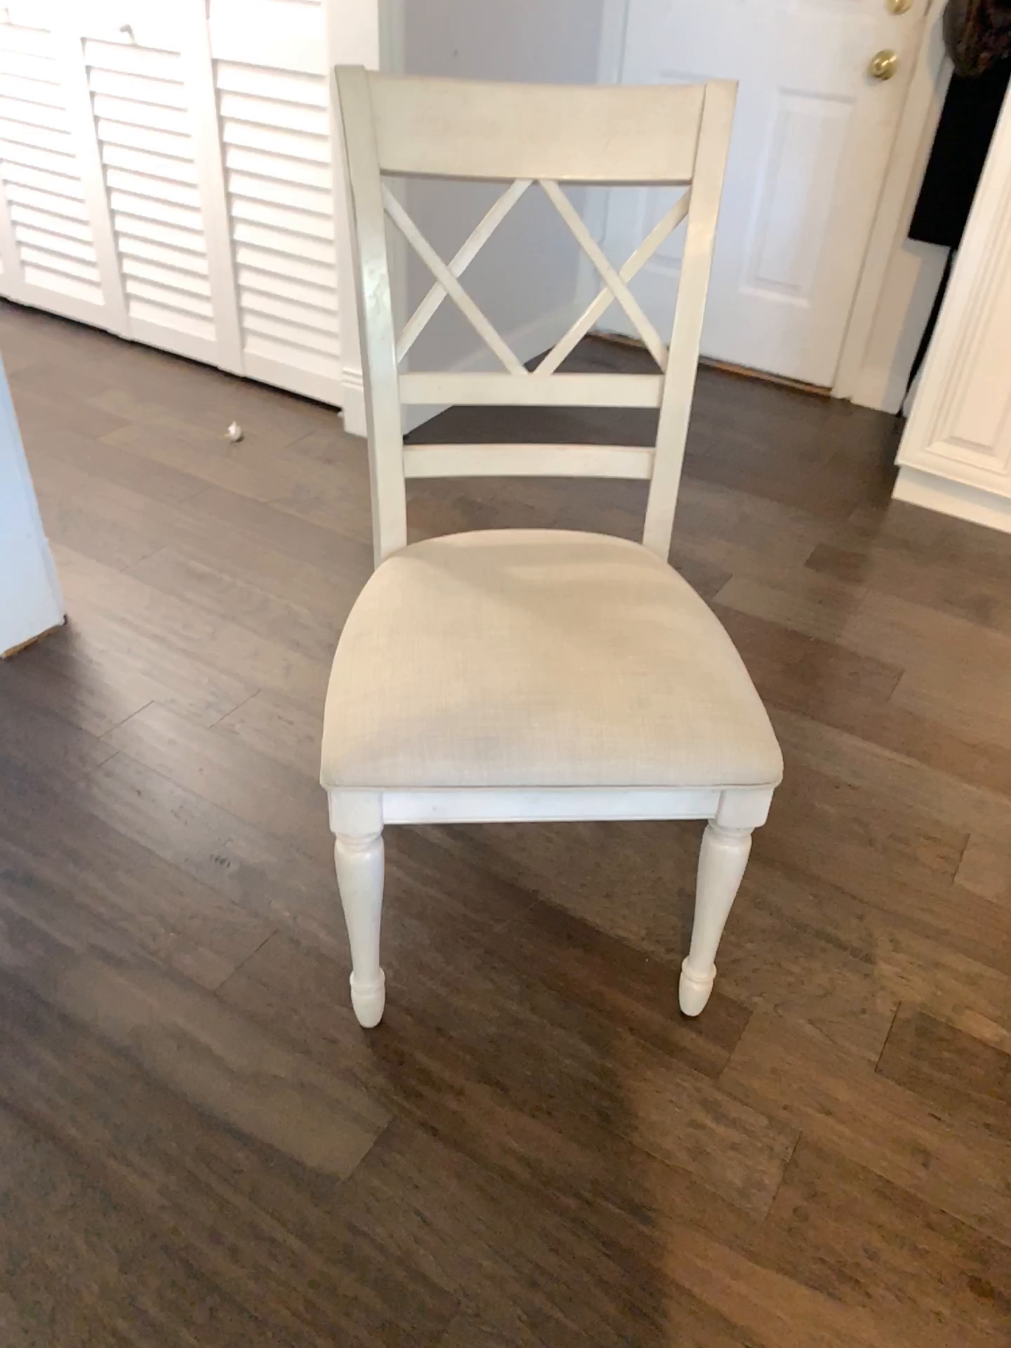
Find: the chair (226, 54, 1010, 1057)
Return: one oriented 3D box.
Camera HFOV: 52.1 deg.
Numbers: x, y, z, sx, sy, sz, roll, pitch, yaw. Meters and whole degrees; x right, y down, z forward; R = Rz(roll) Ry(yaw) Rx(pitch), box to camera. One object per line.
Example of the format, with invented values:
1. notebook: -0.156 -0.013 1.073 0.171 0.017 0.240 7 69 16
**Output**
1. chair: 0.054 -0.120 1.191 0.530 0.924 0.654 1 37 -4
